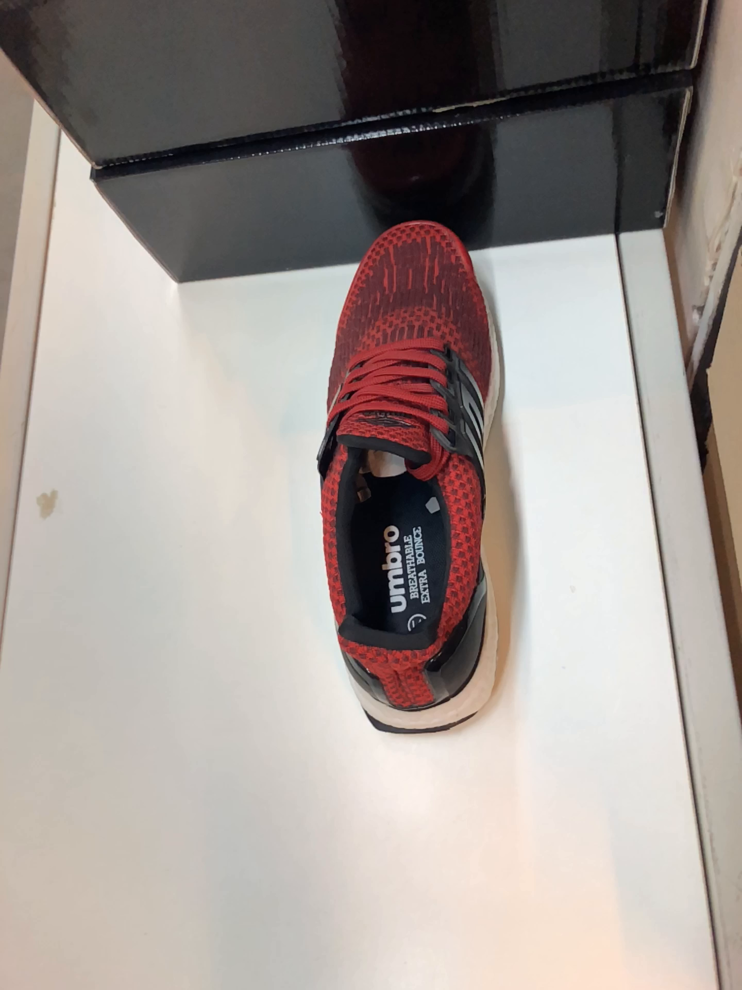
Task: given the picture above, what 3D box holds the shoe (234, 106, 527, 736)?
[{"bbox_3d":[0.009,-0.029,0.412,0.111,0.108,0.286,-5,72,12],"label":"shoe"}]
